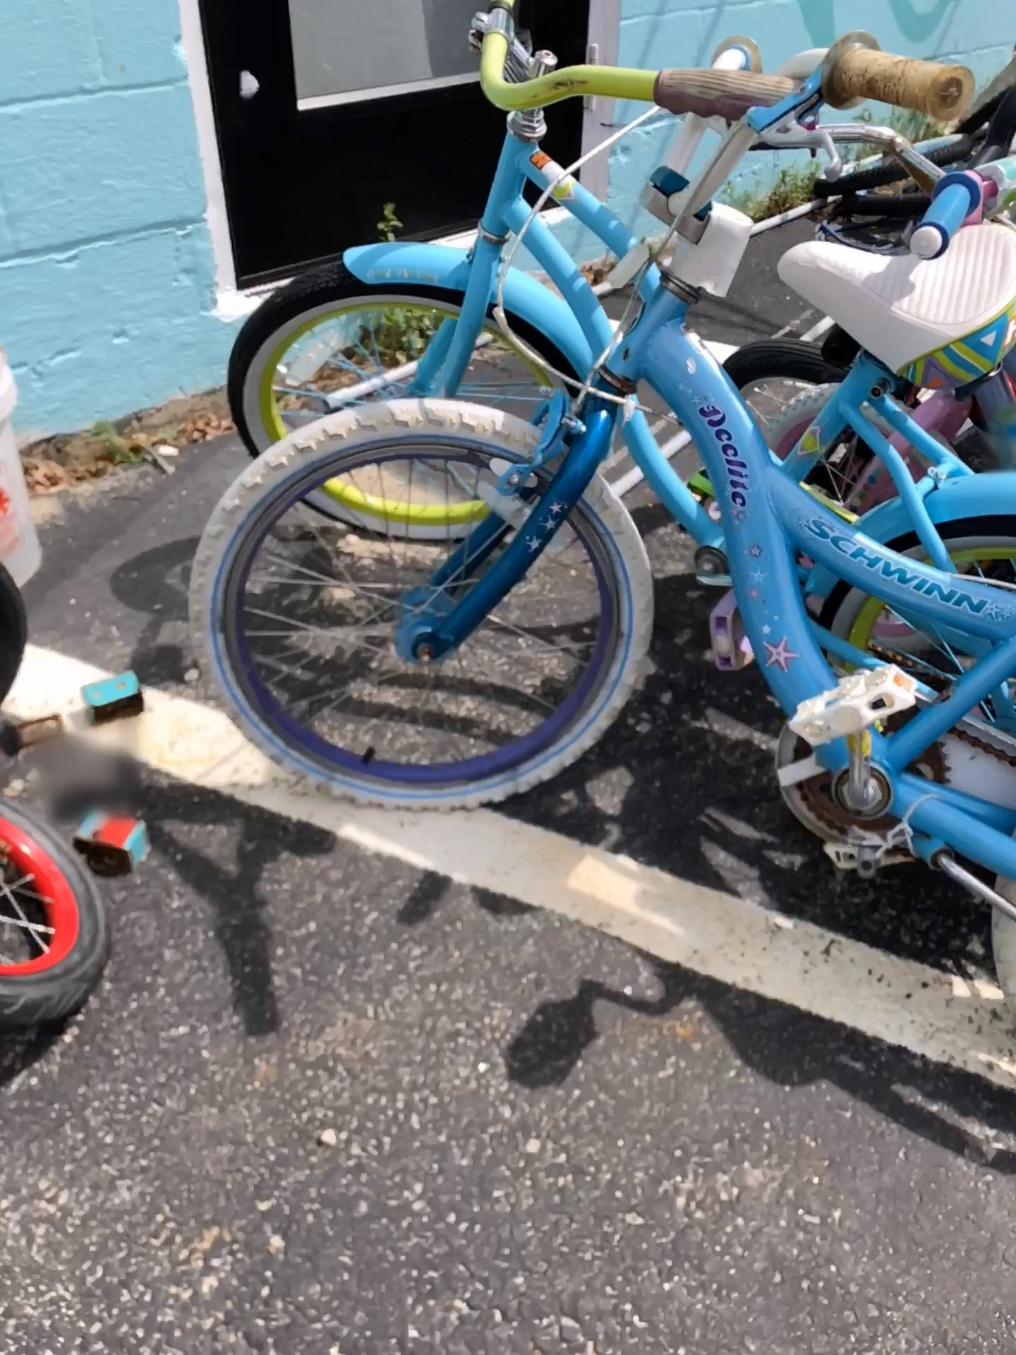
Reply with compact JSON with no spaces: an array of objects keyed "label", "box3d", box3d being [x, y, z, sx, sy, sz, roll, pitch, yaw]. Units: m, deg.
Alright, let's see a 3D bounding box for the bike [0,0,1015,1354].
[{"label":"bike","box3d":[0.379,-0.172,0.945,1.266,0.777,0.558,21,42,14]}]
